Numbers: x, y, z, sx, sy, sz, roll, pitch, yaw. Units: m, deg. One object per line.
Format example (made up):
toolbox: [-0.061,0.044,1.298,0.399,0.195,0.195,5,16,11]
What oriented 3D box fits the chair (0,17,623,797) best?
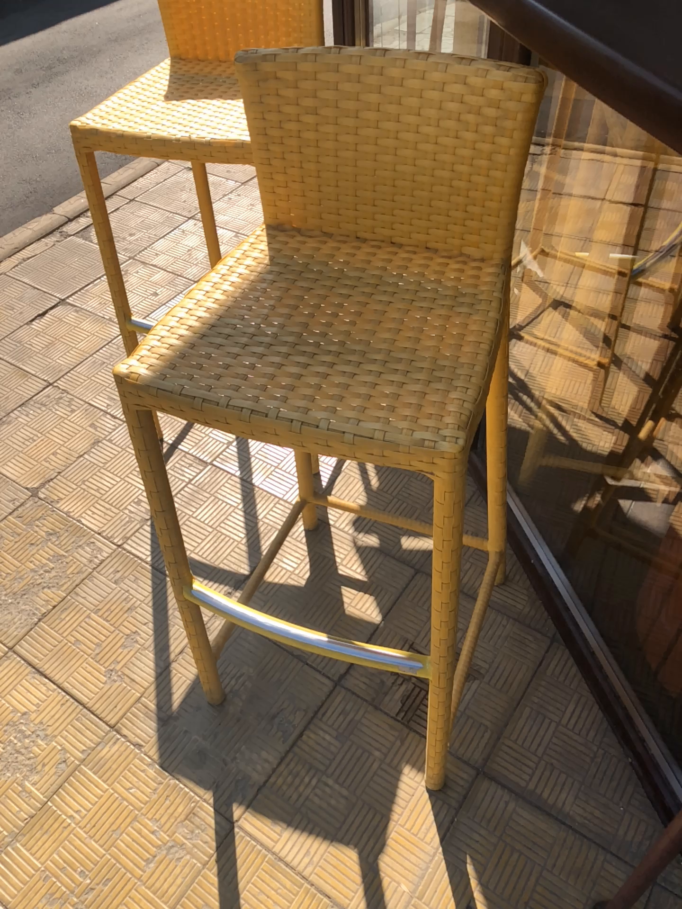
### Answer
chair: [0.012,-0.017,1.074,0.480,0.916,0.522,15,49,17]
